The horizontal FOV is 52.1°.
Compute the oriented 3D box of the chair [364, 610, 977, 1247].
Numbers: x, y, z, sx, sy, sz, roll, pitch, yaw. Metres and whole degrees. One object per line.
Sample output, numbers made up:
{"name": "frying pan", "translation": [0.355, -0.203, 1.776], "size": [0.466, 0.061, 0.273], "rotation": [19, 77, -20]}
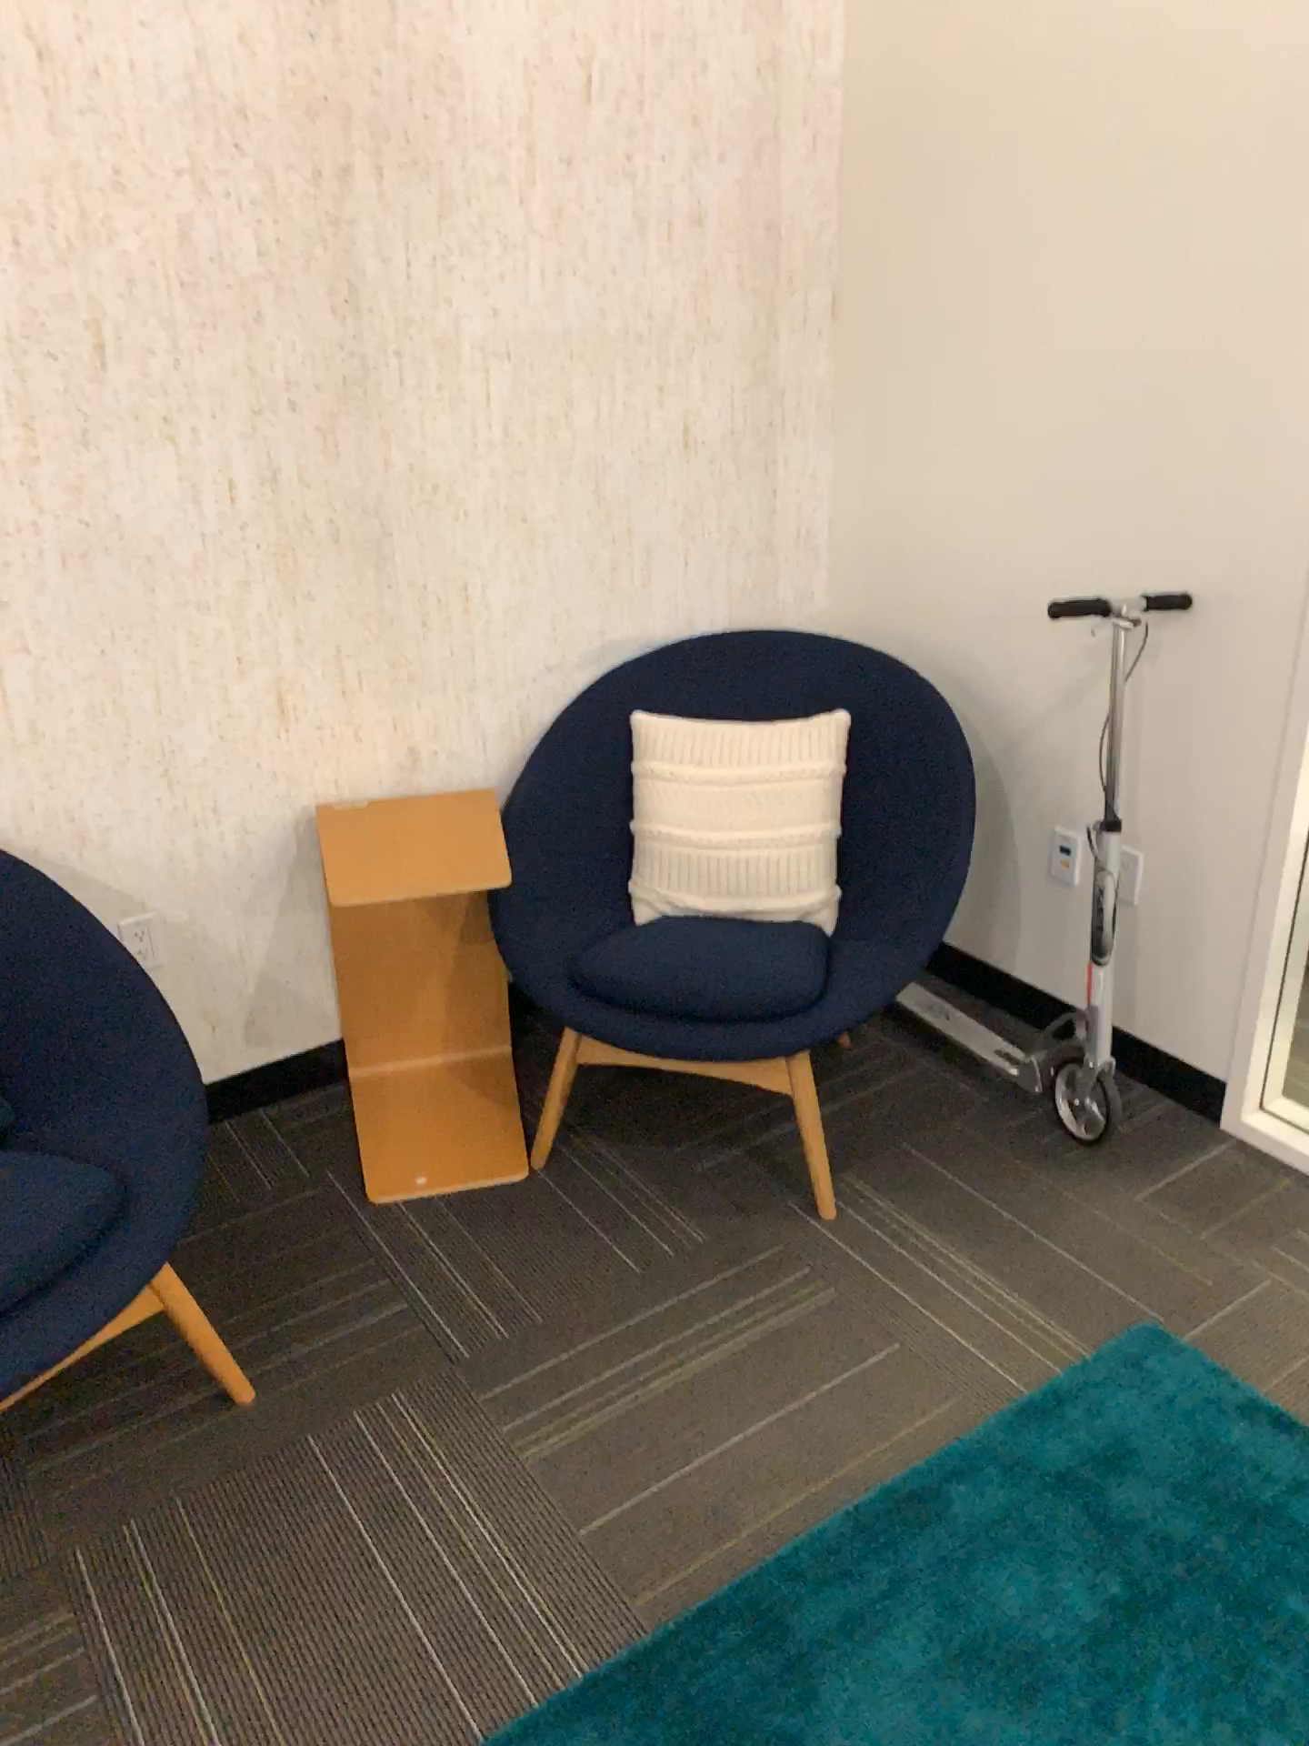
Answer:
{"name": "chair", "translation": [0.103, 0.022, 2.521], "size": [0.891, 0.816, 0.884], "rotation": [5, 24, 15]}
